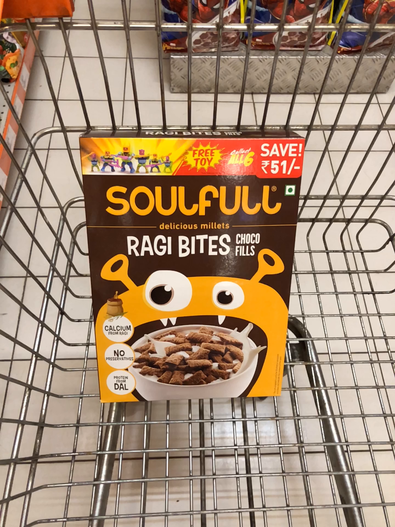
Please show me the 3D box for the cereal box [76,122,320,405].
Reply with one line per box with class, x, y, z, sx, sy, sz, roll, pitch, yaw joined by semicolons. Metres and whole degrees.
cereal box;-0.002;0.004;0.419;0.190;0.259;0.070;0;21;-3
